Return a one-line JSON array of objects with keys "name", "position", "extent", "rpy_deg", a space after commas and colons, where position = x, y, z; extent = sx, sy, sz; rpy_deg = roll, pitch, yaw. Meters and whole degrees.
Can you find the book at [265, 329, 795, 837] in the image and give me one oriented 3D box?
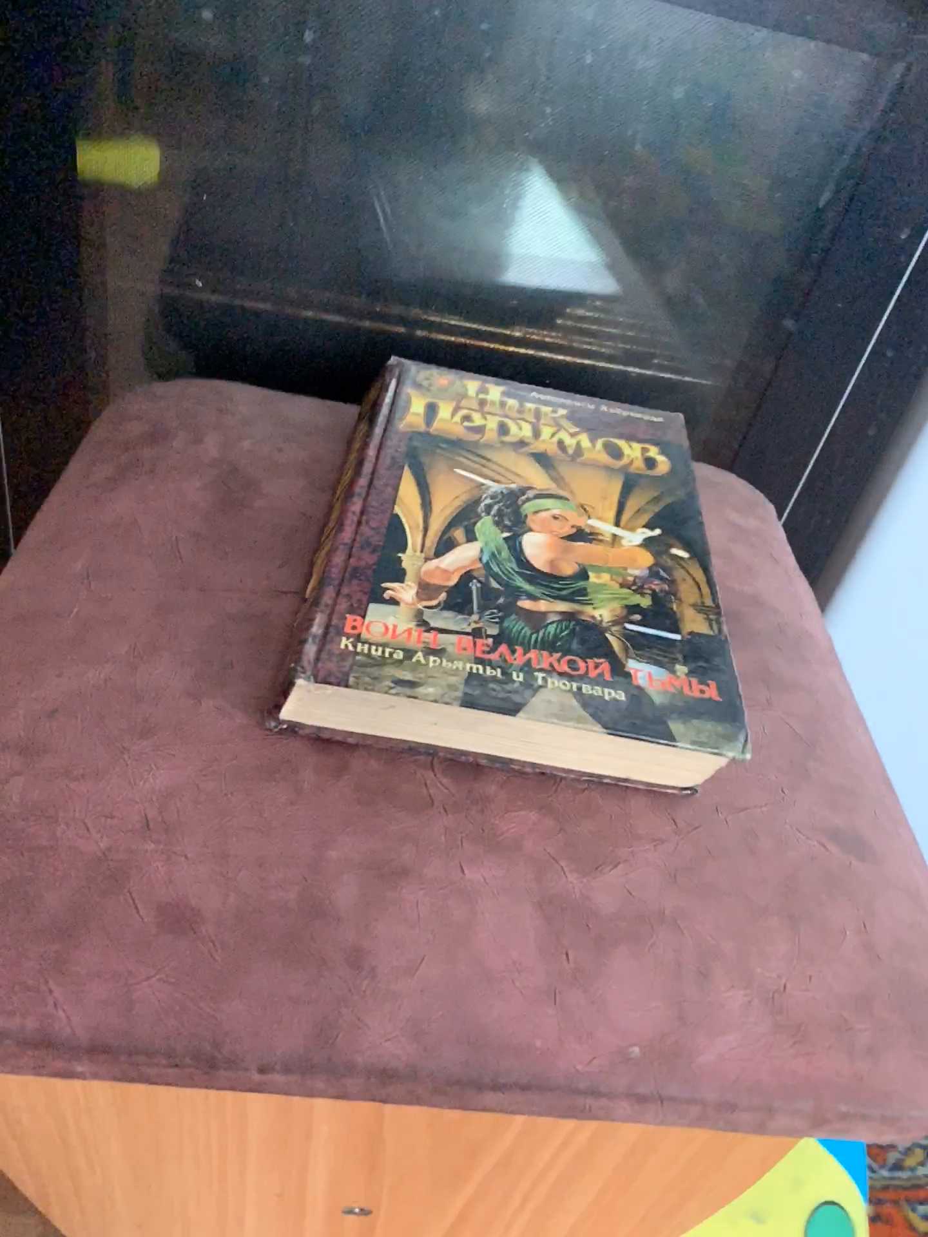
[{"name": "book", "position": [0.024, -0.029, 0.341], "extent": [0.139, 0.037, 0.207], "rpy_deg": [12, 39, -4]}]
